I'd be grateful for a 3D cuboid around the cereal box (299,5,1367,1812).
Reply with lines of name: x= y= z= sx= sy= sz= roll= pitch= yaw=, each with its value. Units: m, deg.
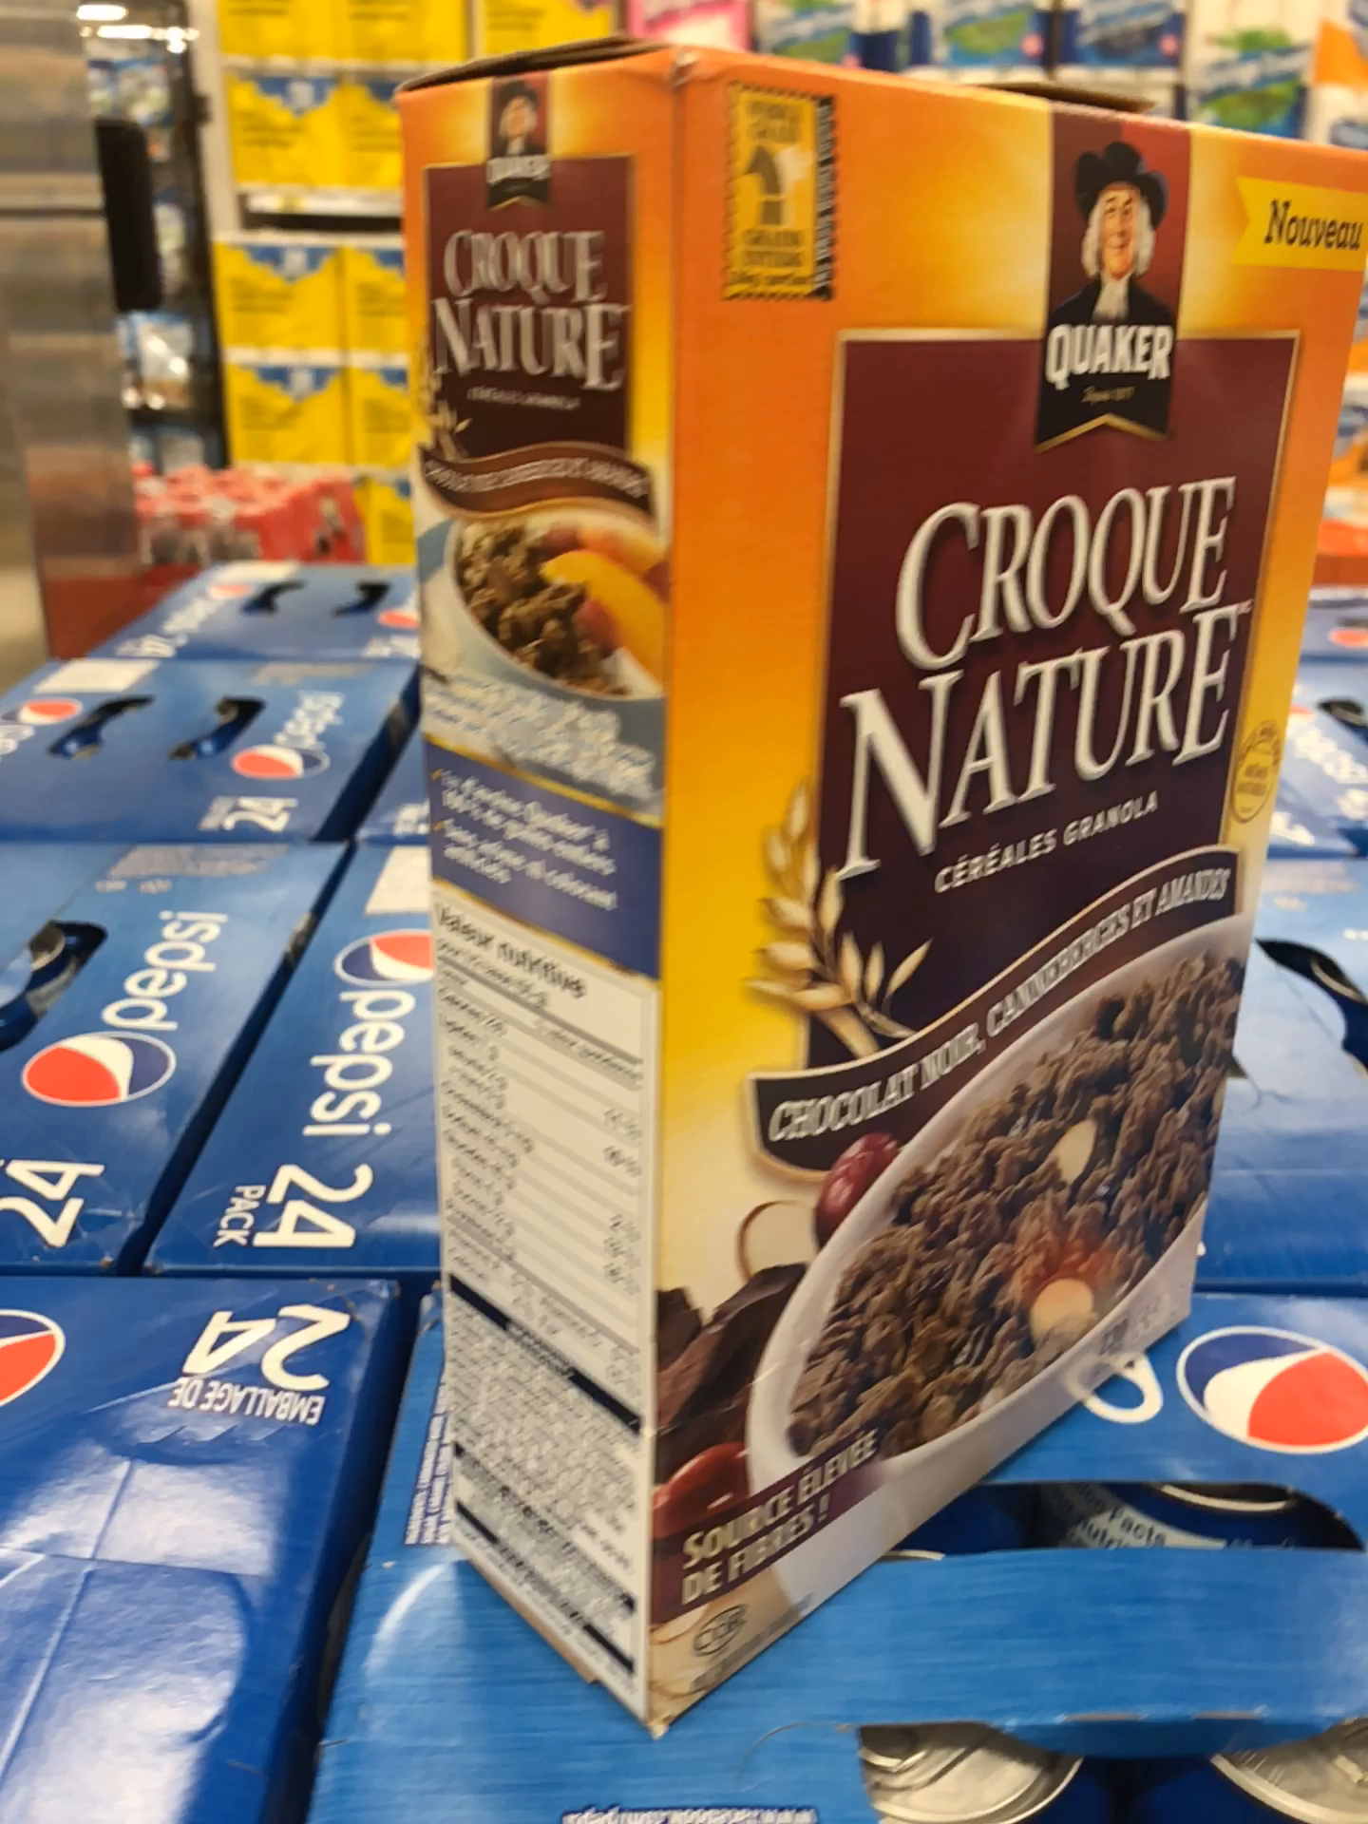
cereal box: x=0.033 y=-0.003 z=0.249 sx=0.160 sy=0.229 sz=0.060 roll=-18 pitch=30 yaw=-38
